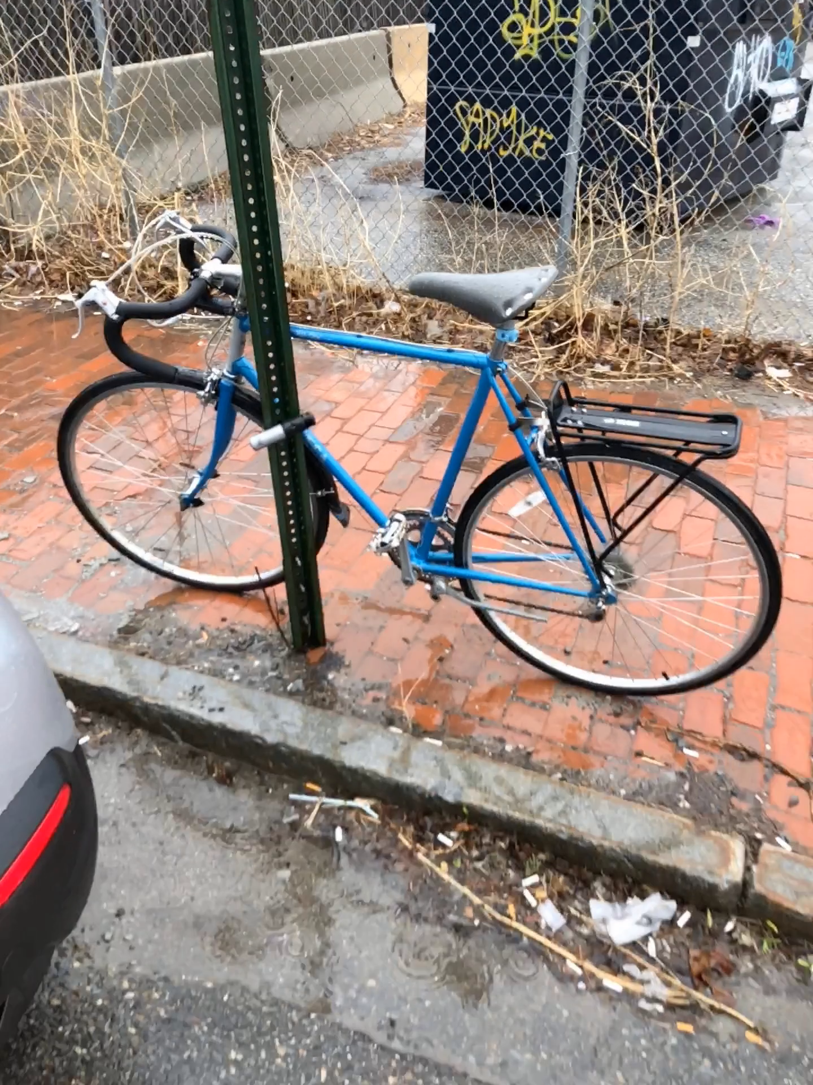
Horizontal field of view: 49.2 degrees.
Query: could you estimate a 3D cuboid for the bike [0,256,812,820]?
[{"bbox_3d":[-0.091,-0.071,2.143,1.865,0.919,0.475,11,34,15],"label":"bike"}]
